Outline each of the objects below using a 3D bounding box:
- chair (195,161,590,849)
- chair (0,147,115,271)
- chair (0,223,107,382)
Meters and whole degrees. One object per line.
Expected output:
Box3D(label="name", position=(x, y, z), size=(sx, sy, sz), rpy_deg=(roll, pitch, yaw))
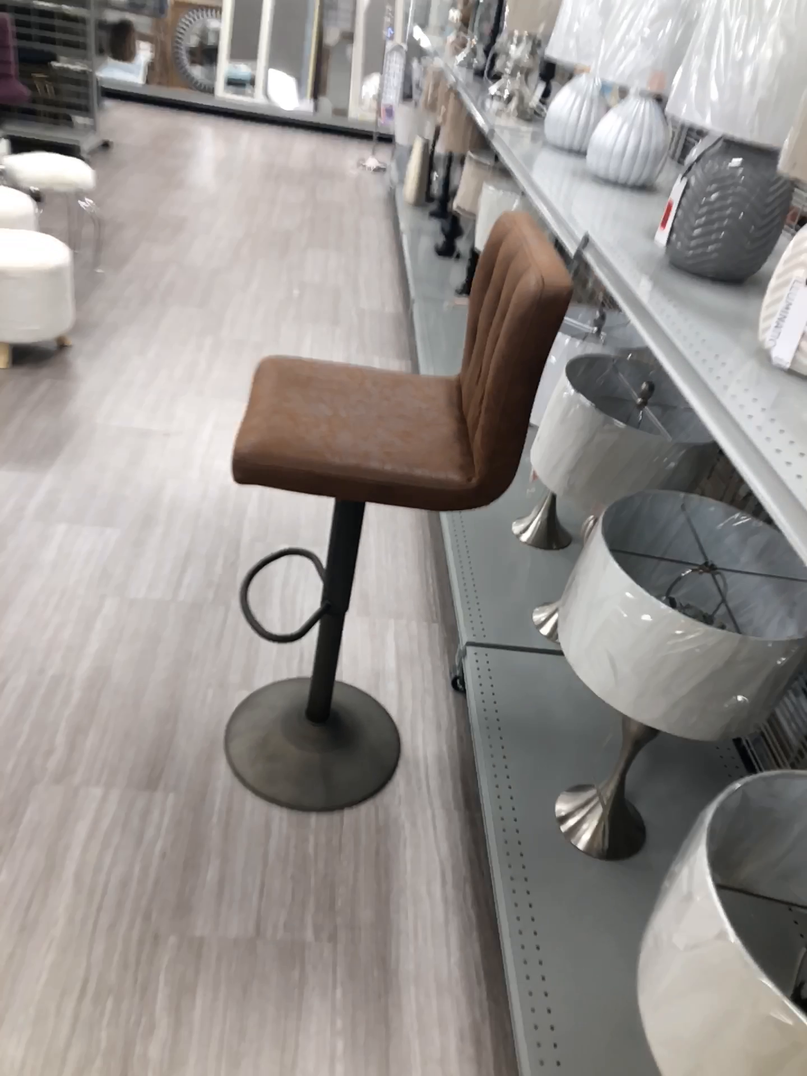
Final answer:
Box3D(label="chair", position=(-0.081, -0.016, 1.595), size=(0.468, 1.102, 0.477), rpy_deg=(7, 32, -5))
Box3D(label="chair", position=(-1.679, -1.585, 4.241), size=(0.464, 0.406, 0.491), rpy_deg=(5, 32, -9))
Box3D(label="chair", position=(-1.425, -0.894, 3.285), size=(0.465, 0.406, 0.490), rpy_deg=(-15, 40, -34))
